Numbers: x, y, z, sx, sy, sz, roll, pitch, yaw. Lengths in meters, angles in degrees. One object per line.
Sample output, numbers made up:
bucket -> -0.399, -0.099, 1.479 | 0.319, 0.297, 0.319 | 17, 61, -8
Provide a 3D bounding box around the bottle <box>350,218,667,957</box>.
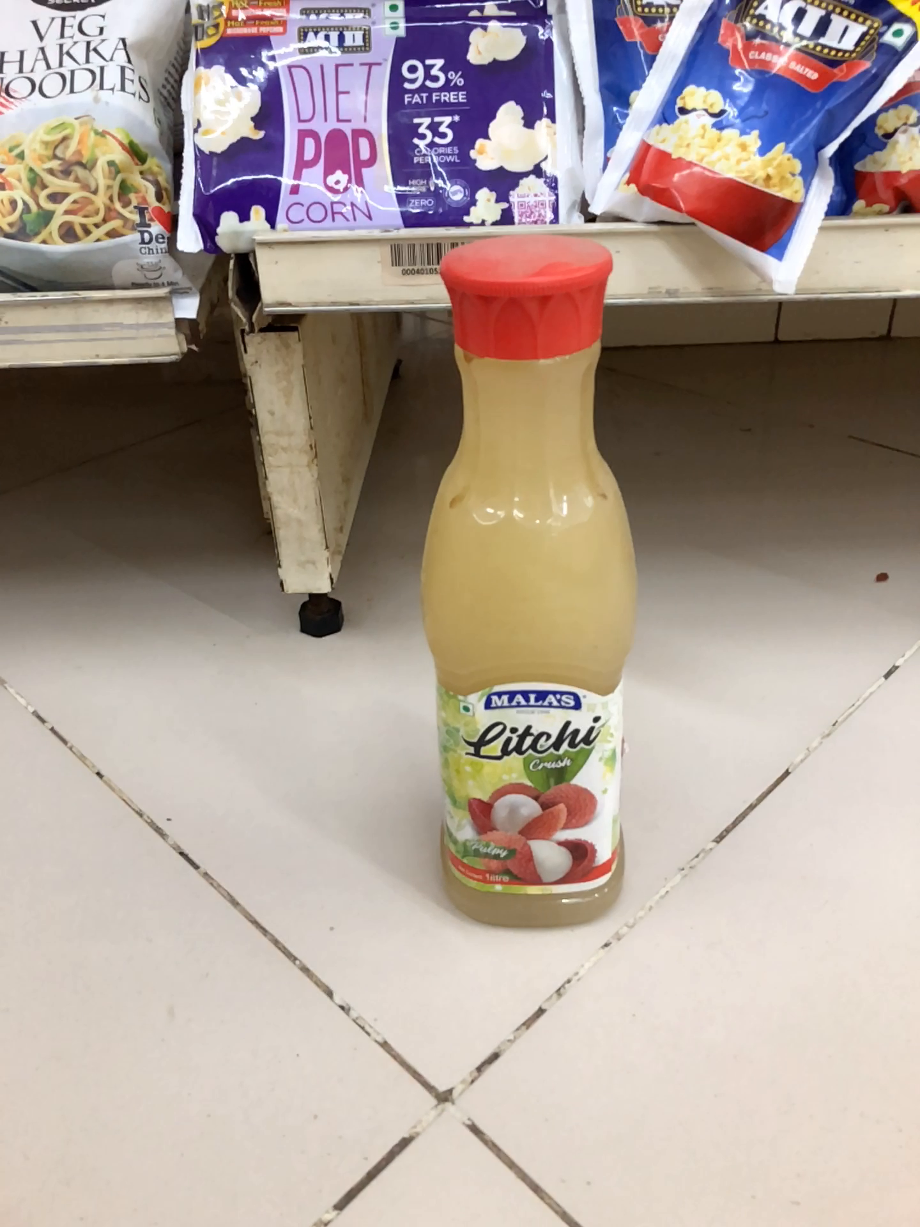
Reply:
bottle -> 0.022, 0.005, 0.405 | 0.090, 0.288, 0.091 | -2, 33, 2
